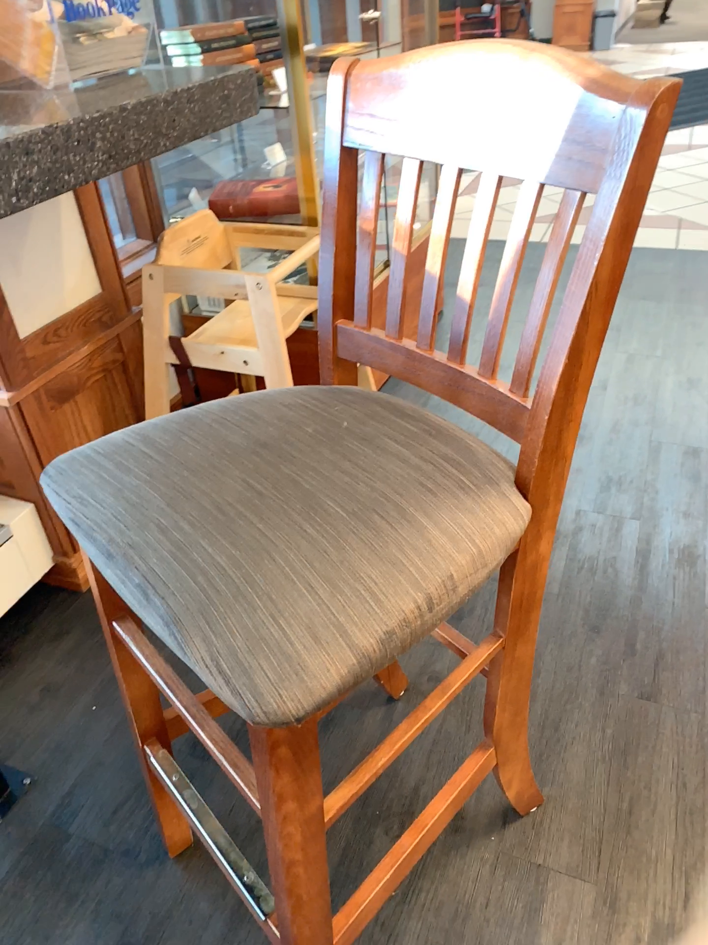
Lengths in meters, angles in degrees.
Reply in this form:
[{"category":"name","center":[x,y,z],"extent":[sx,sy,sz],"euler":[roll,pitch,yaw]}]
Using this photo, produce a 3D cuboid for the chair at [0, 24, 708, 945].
[{"category":"chair","center":[-0.040,0.079,0.923],"extent":[0.661,1.045,0.602],"euler":[-27,41,-28]}]
